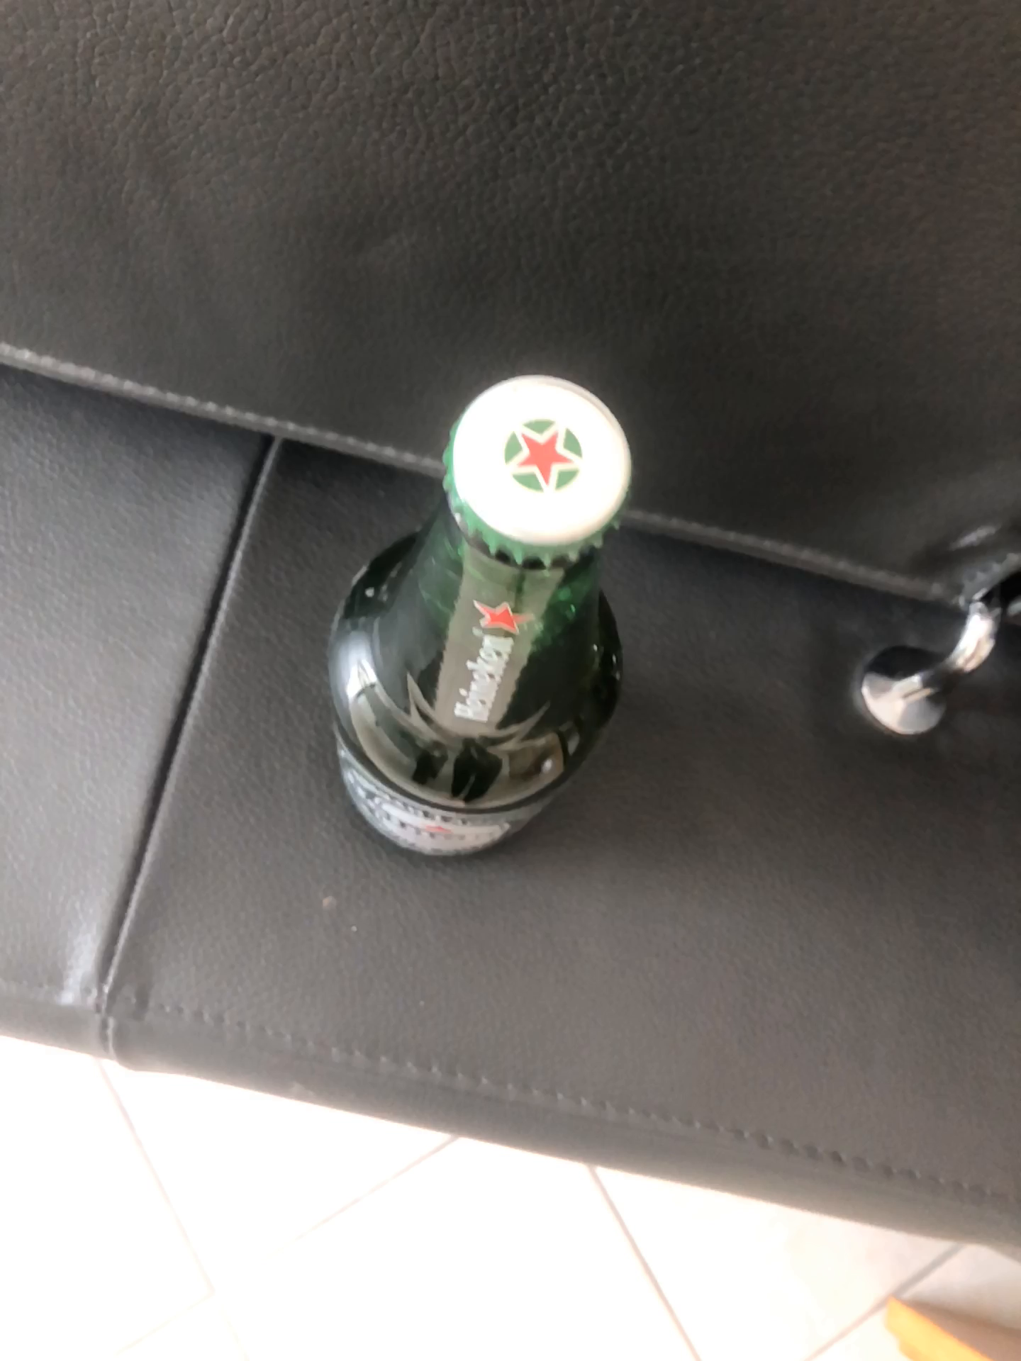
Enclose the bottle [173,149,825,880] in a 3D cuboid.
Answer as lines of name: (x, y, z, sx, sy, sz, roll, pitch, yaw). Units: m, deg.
bottle: (-0.014, -0.003, 0.293, 0.080, 0.269, 0.080, 2, 77, -7)
